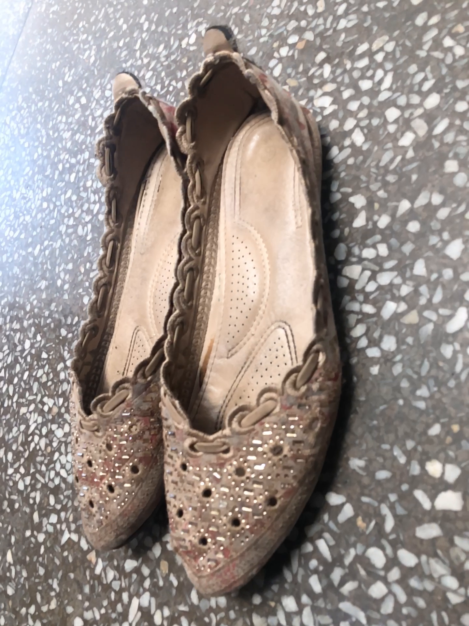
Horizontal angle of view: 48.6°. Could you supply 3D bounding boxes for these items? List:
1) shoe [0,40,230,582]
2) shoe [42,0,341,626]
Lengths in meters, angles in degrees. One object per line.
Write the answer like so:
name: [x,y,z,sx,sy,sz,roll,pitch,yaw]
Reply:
shoe: [-0.073,-0.005,0.290,0.090,0.068,0.254,-3,74,38]
shoe: [-0.010,-0.007,0.236,0.090,0.068,0.254,-7,71,37]
